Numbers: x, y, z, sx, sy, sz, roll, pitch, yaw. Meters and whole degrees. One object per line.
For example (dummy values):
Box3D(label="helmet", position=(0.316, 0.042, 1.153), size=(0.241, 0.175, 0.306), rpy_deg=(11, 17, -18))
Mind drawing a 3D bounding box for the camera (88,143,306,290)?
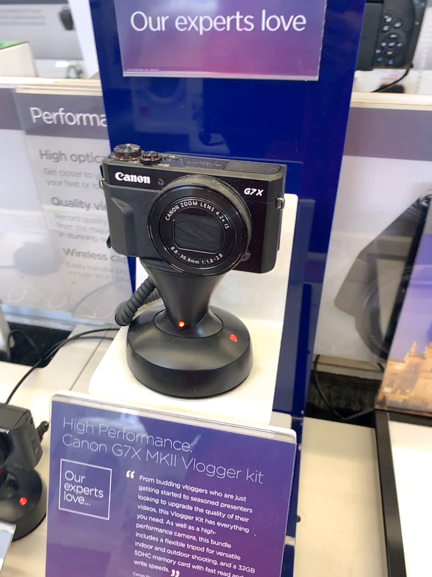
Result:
Box3D(label="camera", position=(-0.009, -0.042, 0.252), size=(0.108, 0.059, 0.038), rpy_deg=(9, 34, 13))
